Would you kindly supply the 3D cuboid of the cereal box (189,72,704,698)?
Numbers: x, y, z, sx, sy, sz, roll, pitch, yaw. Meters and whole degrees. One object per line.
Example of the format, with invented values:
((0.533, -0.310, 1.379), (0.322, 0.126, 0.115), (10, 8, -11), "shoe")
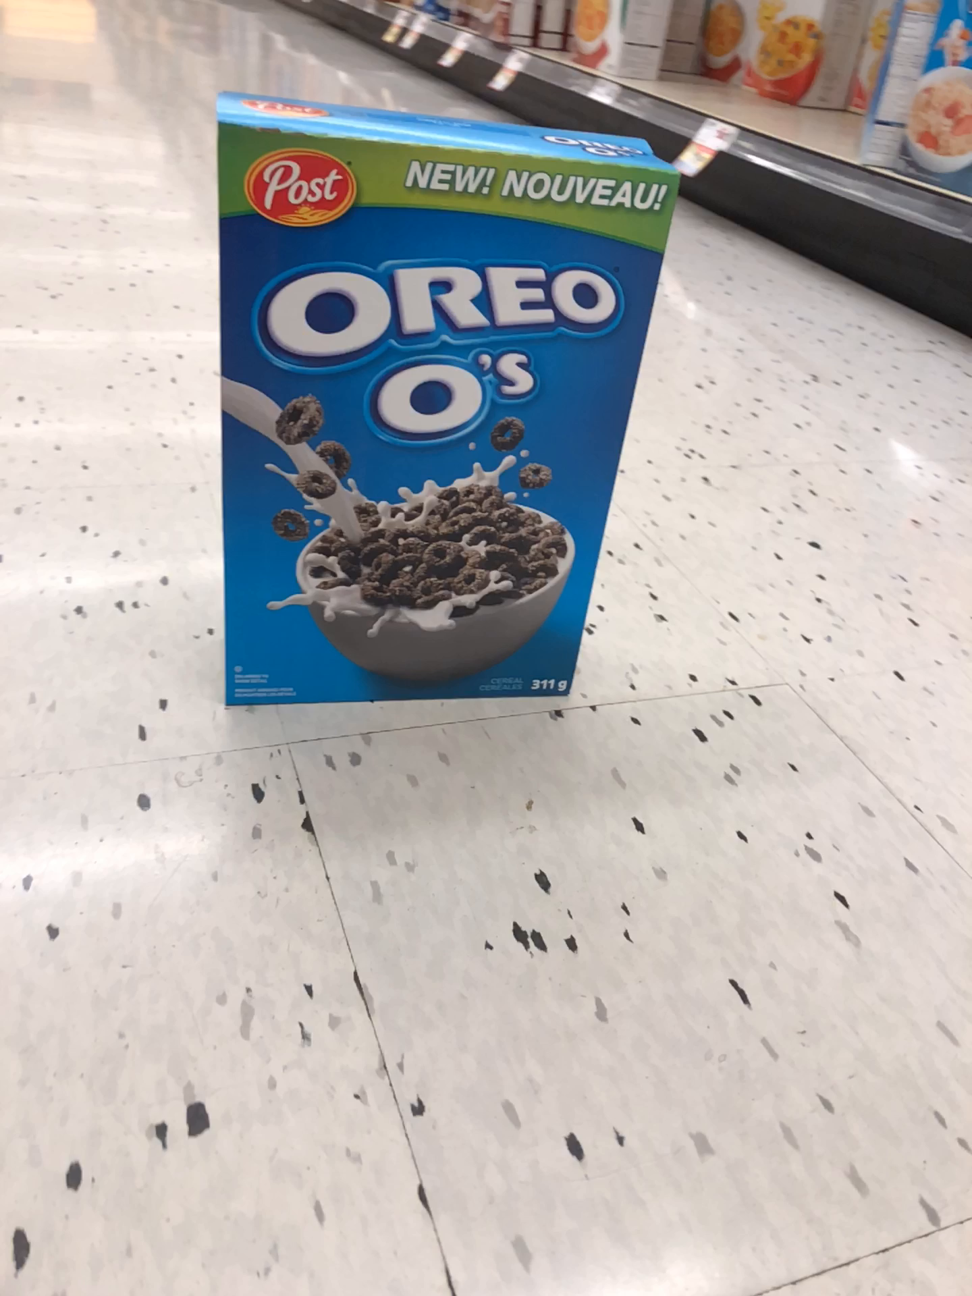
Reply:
((-0.032, -0.105, 0.504), (0.200, 0.268, 0.060), (0, 33, -13), "cereal box")
